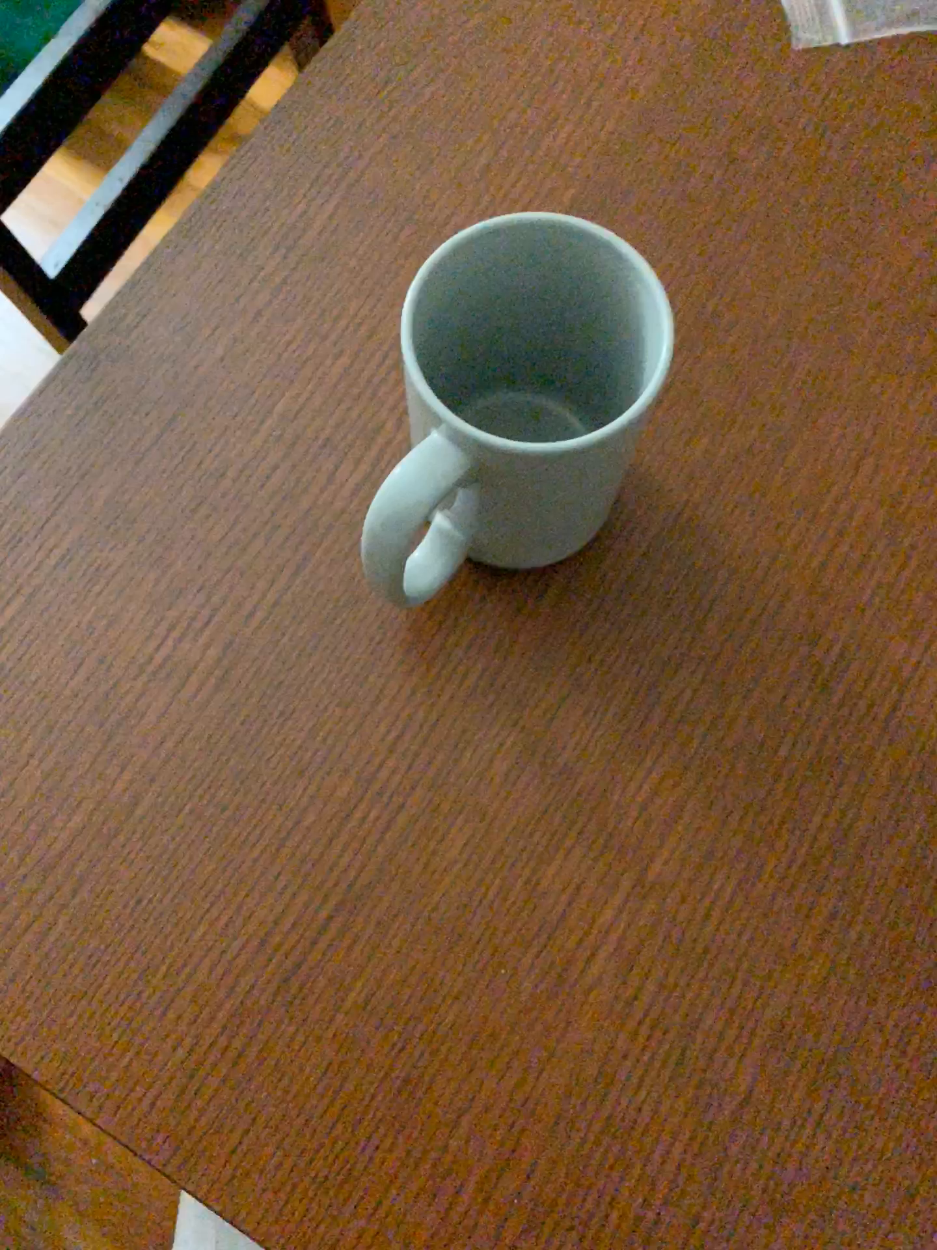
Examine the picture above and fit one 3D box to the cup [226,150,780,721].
[{"bbox_3d":[0.011,-0.059,0.348,0.100,0.110,0.140,43,78,10],"label":"cup"}]
